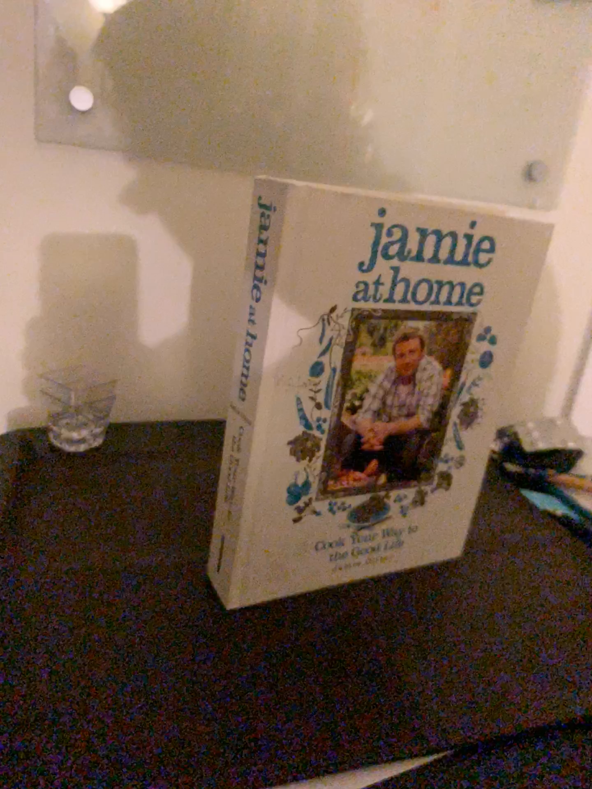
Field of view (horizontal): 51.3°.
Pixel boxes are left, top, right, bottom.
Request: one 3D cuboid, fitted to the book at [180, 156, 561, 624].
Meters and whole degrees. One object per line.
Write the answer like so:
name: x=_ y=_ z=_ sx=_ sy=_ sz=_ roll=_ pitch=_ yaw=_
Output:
book: x=0.044 y=0.002 z=0.405 sx=0.210 sy=0.269 sz=0.050 roll=-3 pitch=23 yaw=-29
